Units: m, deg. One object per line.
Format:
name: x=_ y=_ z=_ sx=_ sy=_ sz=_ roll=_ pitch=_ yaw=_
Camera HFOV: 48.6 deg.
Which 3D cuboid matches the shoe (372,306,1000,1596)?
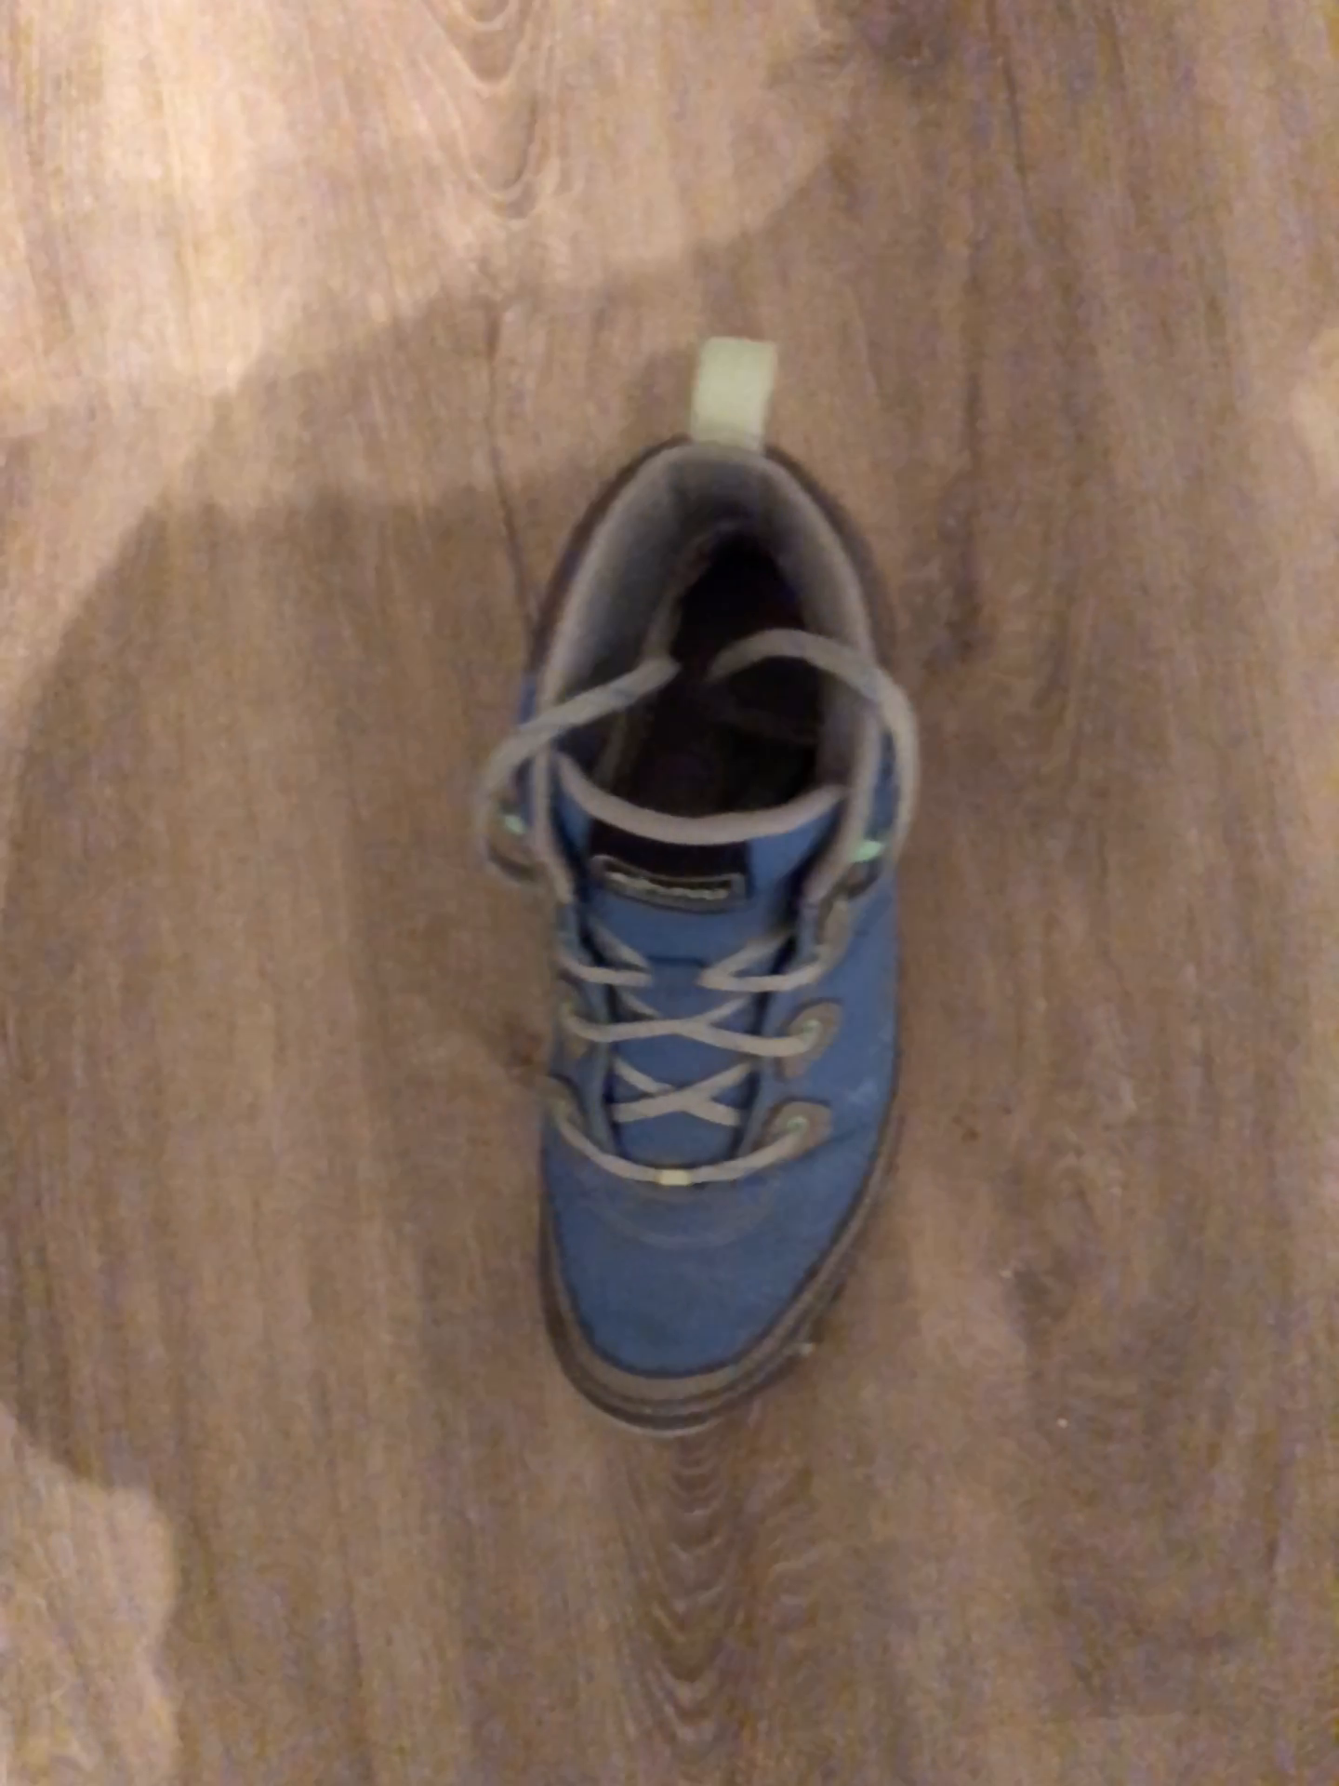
shoe: x=0.013 y=0.010 z=0.368 sx=0.100 sy=0.140 sz=0.250 roll=6 pitch=88 yaw=9
